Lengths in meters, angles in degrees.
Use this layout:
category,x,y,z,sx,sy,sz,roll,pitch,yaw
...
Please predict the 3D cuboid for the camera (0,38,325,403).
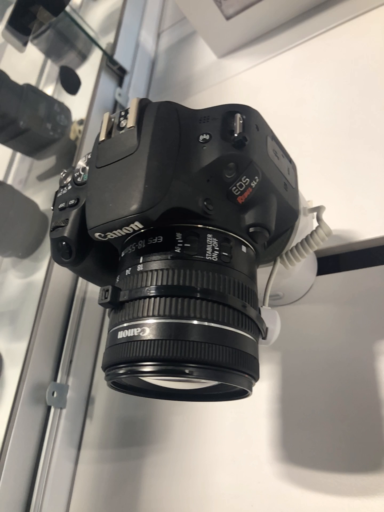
category,x,y,z,sx,sy,sz,roll,pitch,yaw
camera,-0.020,0.003,0.200,0.123,0.099,0.110,-14,58,34
